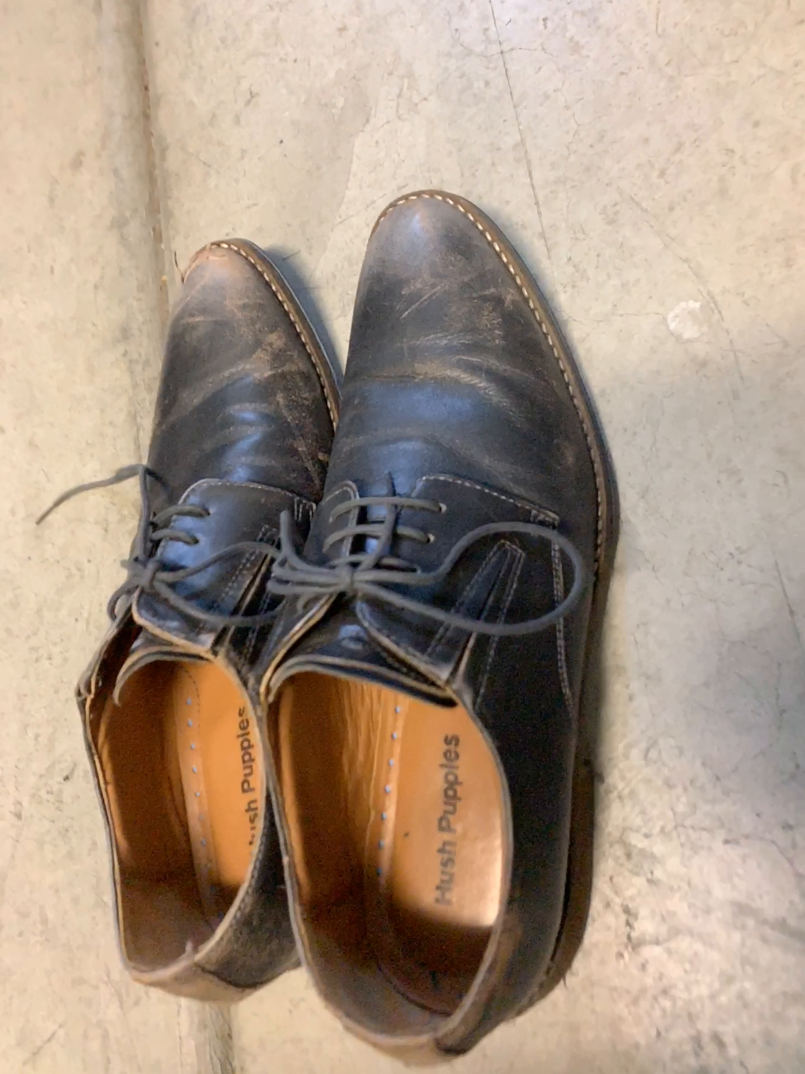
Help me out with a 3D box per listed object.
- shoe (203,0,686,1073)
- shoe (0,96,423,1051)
[{"bbox_3d":[0.015,0.005,0.291,0.110,0.120,0.304,-9,78,26],"label":"shoe"},{"bbox_3d":[-0.081,0.011,0.341,0.110,0.120,0.310,-11,77,25],"label":"shoe"}]
